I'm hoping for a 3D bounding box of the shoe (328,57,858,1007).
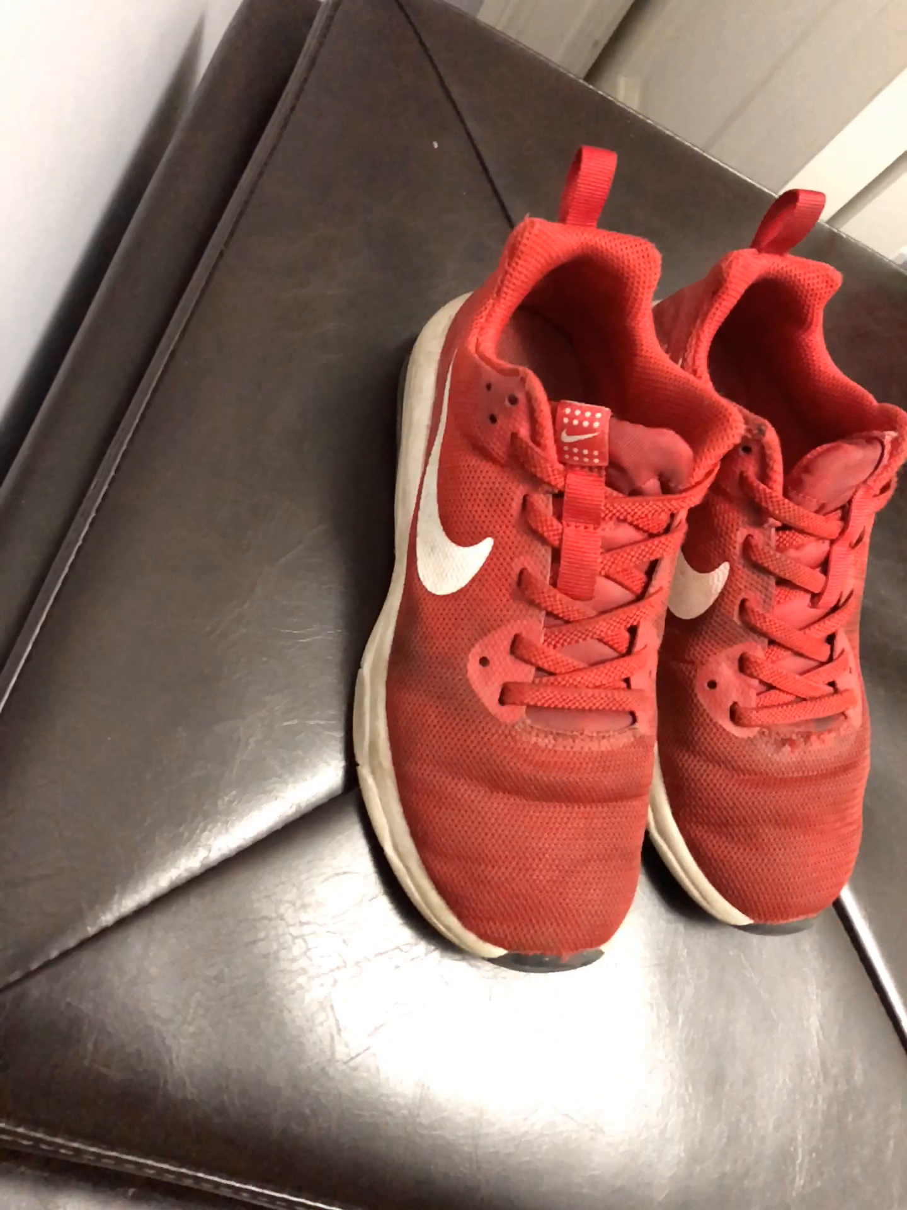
[{"bbox_3d":[0.028,-0.013,0.283,0.095,0.100,0.220,6,74,-22],"label":"shoe"}]

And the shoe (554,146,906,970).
[{"bbox_3d":[0.113,-0.011,0.323,0.095,0.100,0.220,-2,77,-24],"label":"shoe"}]
